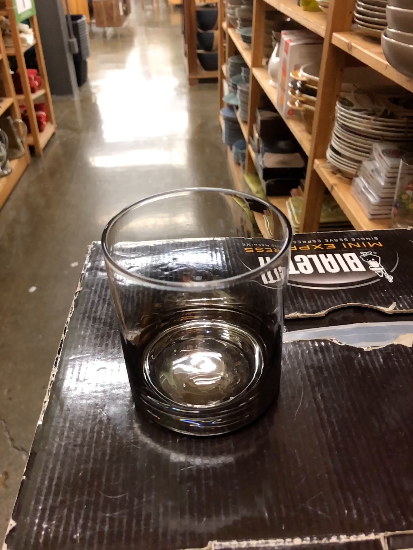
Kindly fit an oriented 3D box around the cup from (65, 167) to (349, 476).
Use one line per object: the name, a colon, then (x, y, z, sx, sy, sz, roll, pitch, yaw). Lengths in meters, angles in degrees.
cup: (-0.001, 0.015, 0.225, 0.089, 0.093, 0.086, -1, 36, 1)
